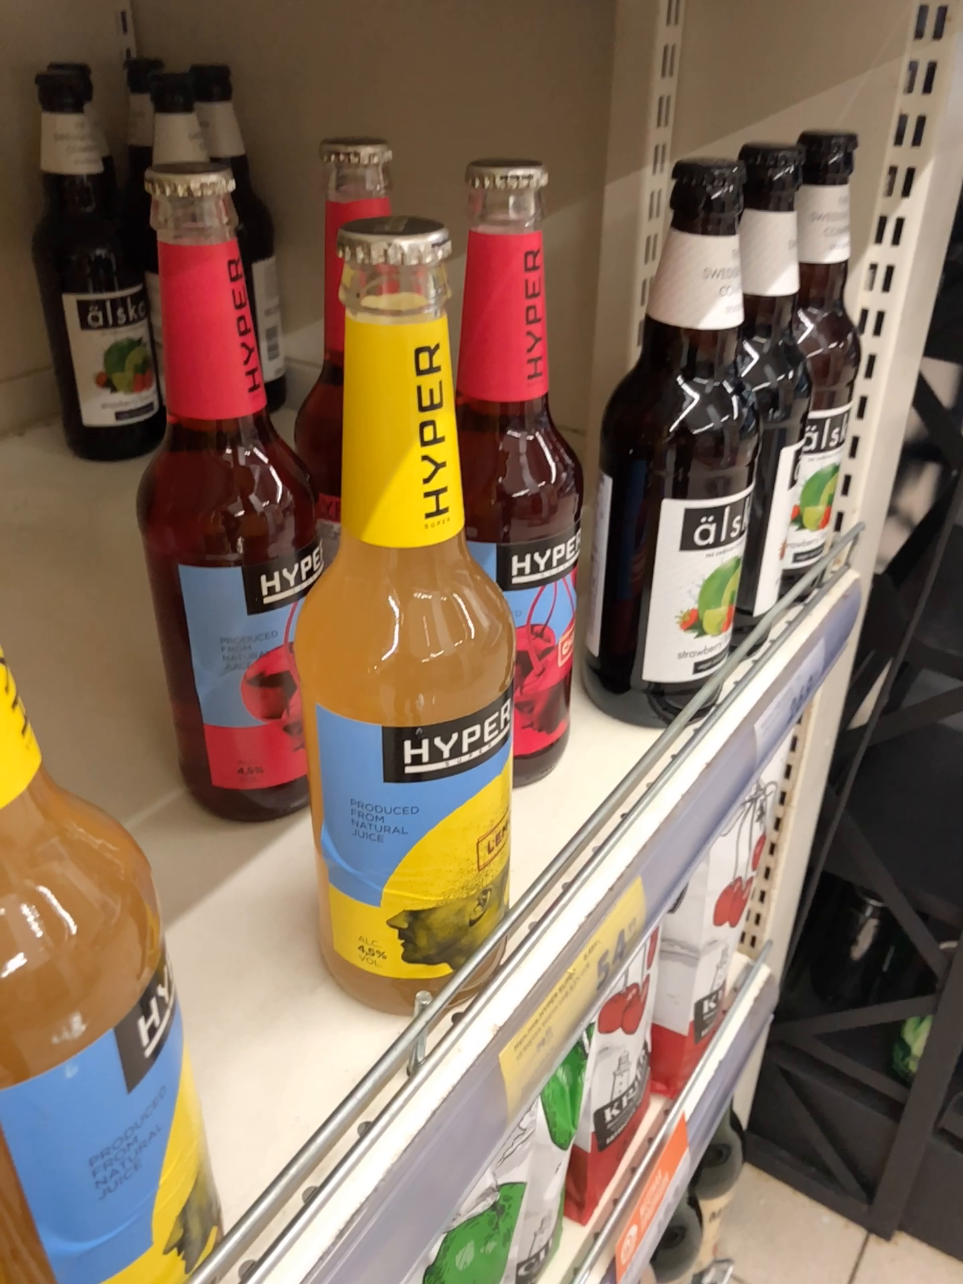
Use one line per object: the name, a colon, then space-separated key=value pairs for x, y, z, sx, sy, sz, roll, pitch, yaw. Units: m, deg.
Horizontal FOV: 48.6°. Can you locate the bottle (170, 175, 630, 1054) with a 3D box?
bottle: x=-0.022 y=-0.003 z=0.320 sx=0.080 sy=0.239 sz=0.080 roll=0 pitch=31 yaw=0
